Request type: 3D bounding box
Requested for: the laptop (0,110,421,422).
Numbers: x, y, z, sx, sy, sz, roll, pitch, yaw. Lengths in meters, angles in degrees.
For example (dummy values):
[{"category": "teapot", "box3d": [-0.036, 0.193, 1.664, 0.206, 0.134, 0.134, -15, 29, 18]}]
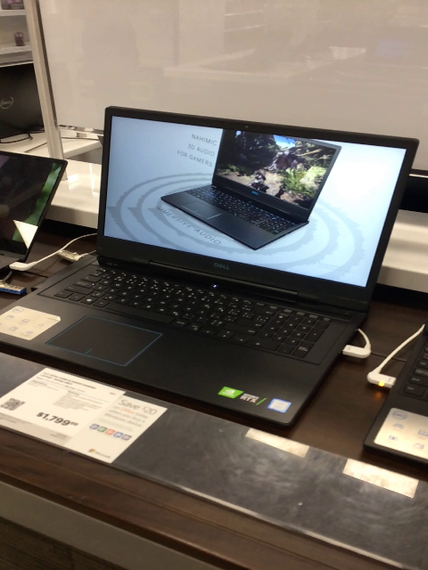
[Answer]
[{"category": "laptop", "box3d": [-0.033, -0.056, 0.683, 0.423, 0.224, 0.308, 14, 35, 21]}]
